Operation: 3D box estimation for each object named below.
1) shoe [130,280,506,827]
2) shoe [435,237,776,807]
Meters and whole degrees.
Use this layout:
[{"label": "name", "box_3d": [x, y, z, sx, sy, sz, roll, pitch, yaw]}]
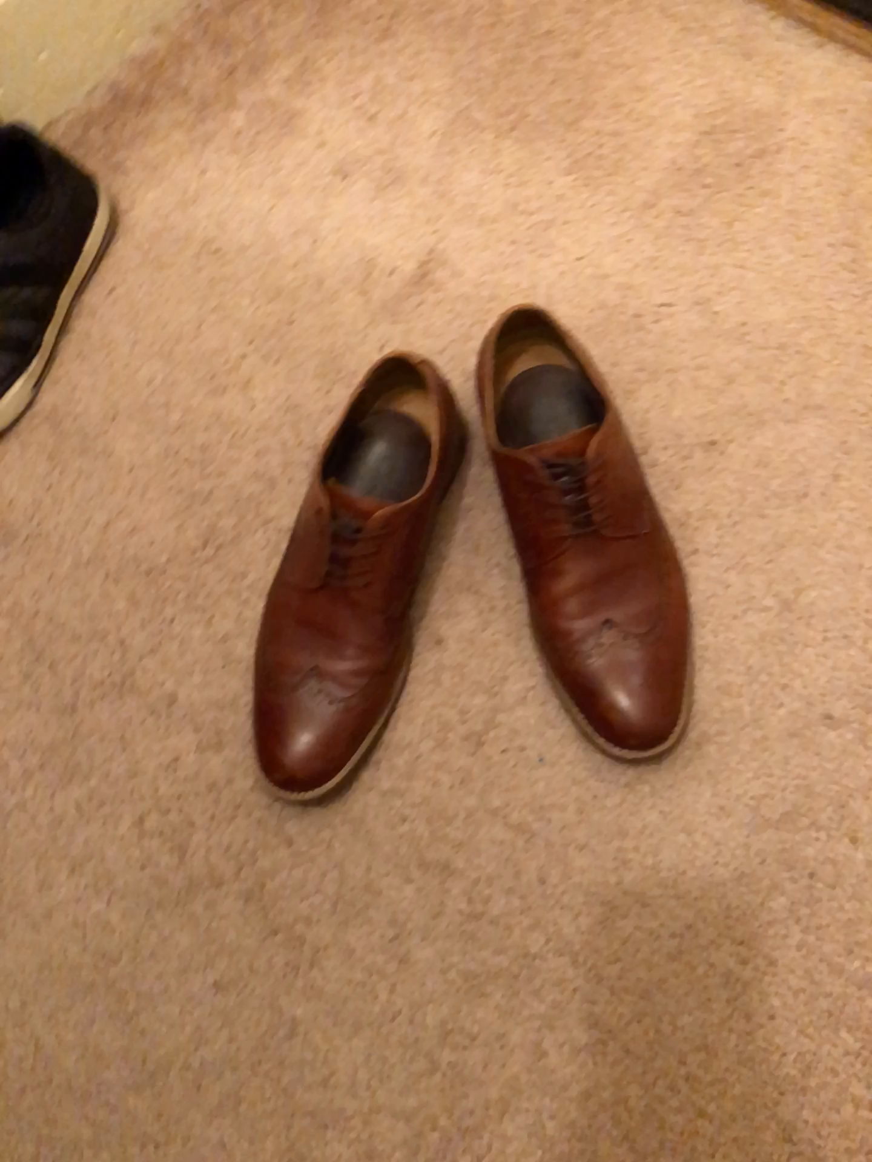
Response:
[{"label": "shoe", "box_3d": [-0.060, -0.017, 0.607, 0.115, 0.115, 0.311, 15, 75, 14]}, {"label": "shoe", "box_3d": [0.093, -0.034, 0.583, 0.115, 0.115, 0.311, -13, 70, 5]}]
